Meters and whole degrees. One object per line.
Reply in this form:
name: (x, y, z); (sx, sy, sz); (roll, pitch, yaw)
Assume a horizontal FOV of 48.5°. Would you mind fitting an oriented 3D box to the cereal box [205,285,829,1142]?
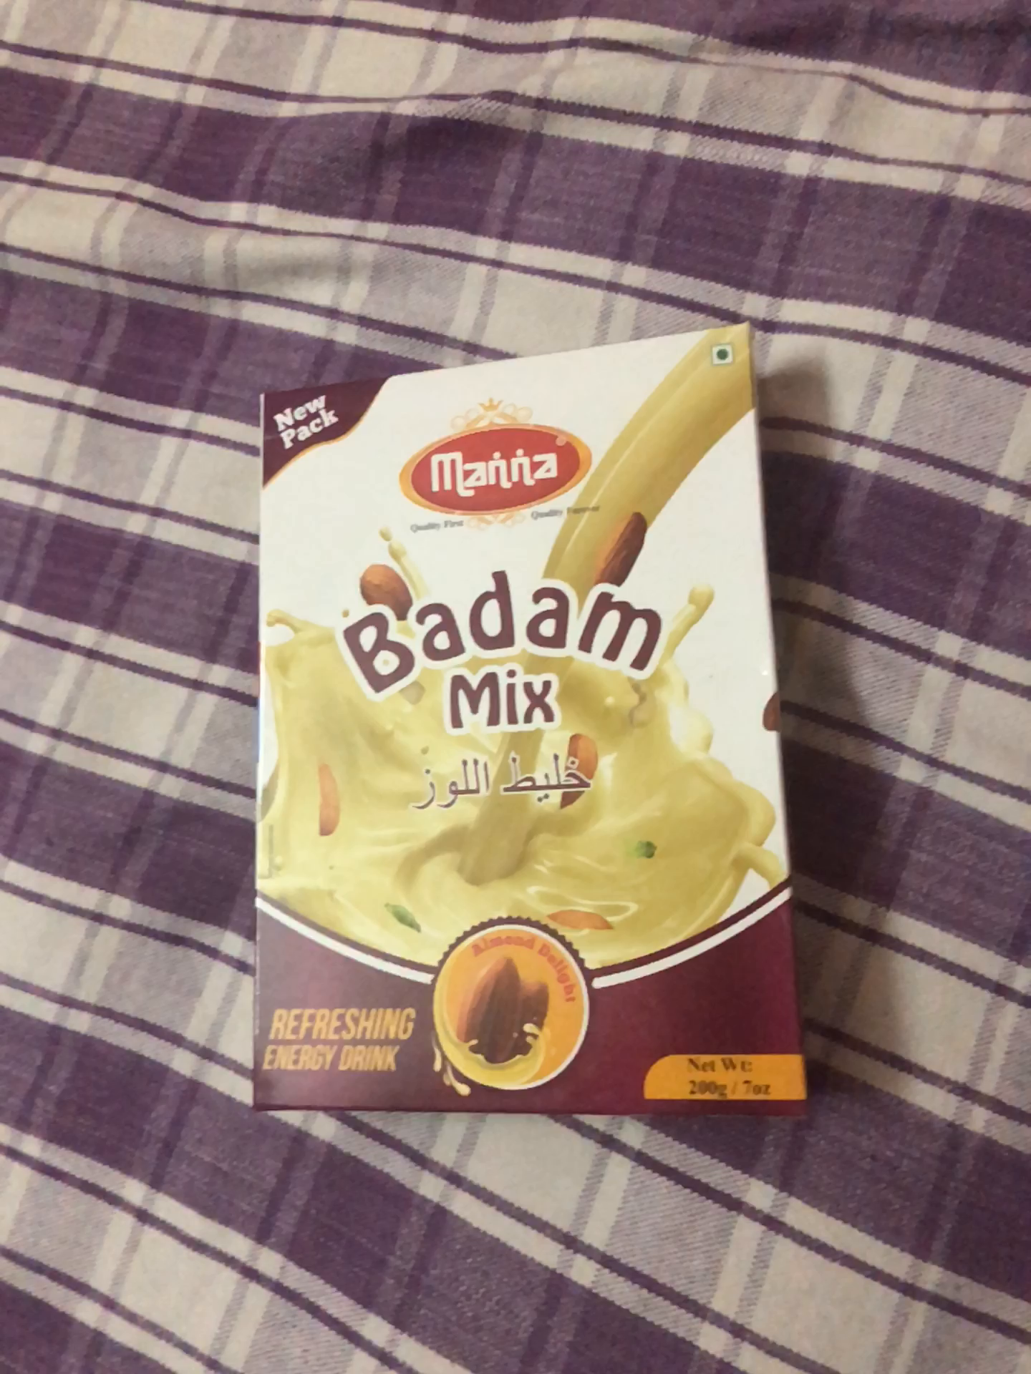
cereal box: (-0.001, 0.009, 0.274); (0.130, 0.050, 0.180); (-5, 78, 12)
